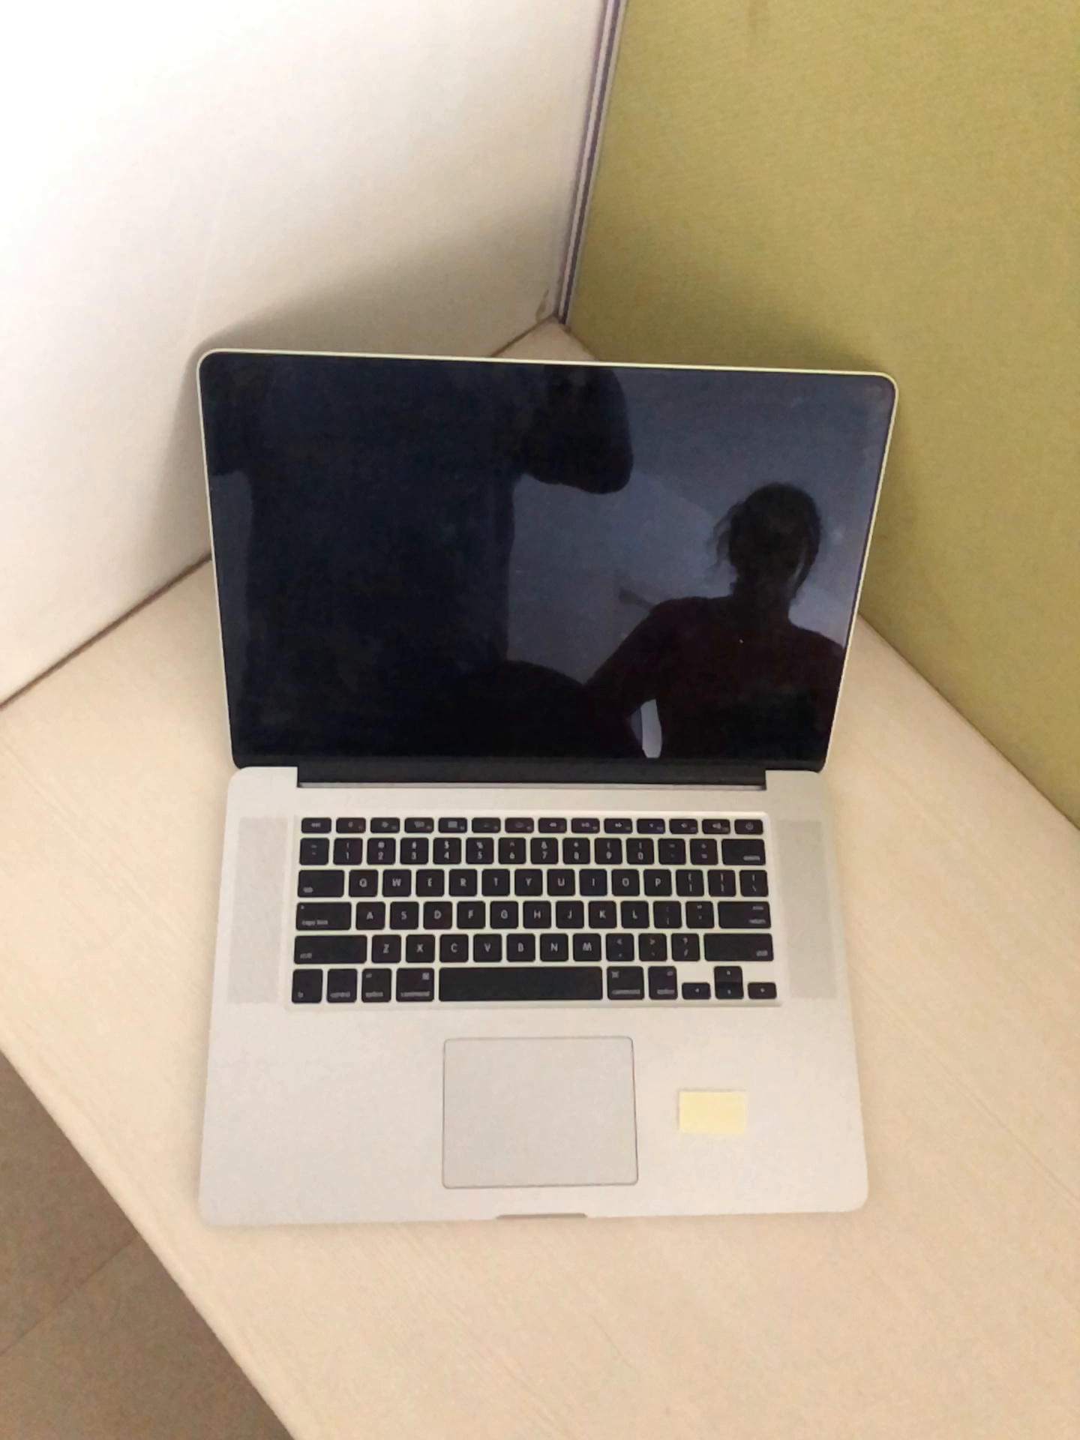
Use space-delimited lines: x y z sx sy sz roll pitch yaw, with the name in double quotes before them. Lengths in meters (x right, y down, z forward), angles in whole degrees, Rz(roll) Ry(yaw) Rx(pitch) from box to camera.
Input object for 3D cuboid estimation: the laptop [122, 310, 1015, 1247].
"laptop" 0.005 0.031 0.590 0.345 0.163 0.404 0 73 -5
